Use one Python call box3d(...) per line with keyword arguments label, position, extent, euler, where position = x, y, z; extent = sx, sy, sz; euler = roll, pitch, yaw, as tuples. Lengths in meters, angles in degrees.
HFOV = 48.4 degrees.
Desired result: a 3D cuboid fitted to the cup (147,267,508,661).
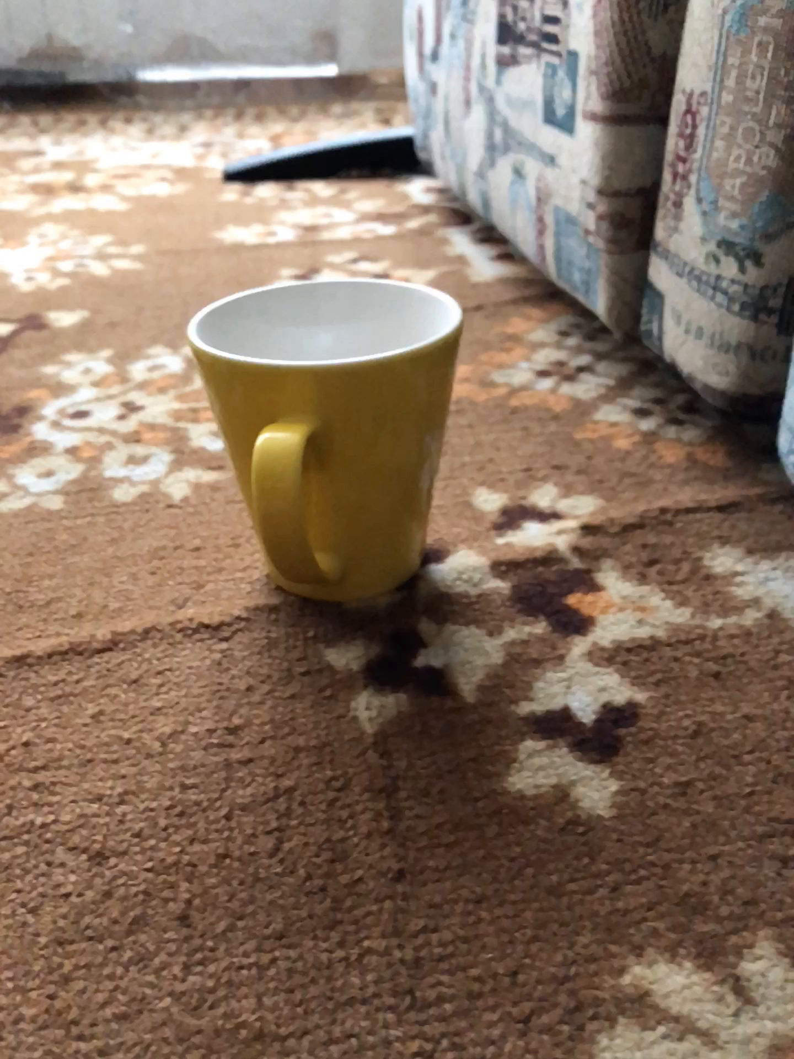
box3d(label="cup", position=(-0.022, -0.031, 0.314), extent=(0.097, 0.088, 0.126), euler=(-3, 30, -3))
